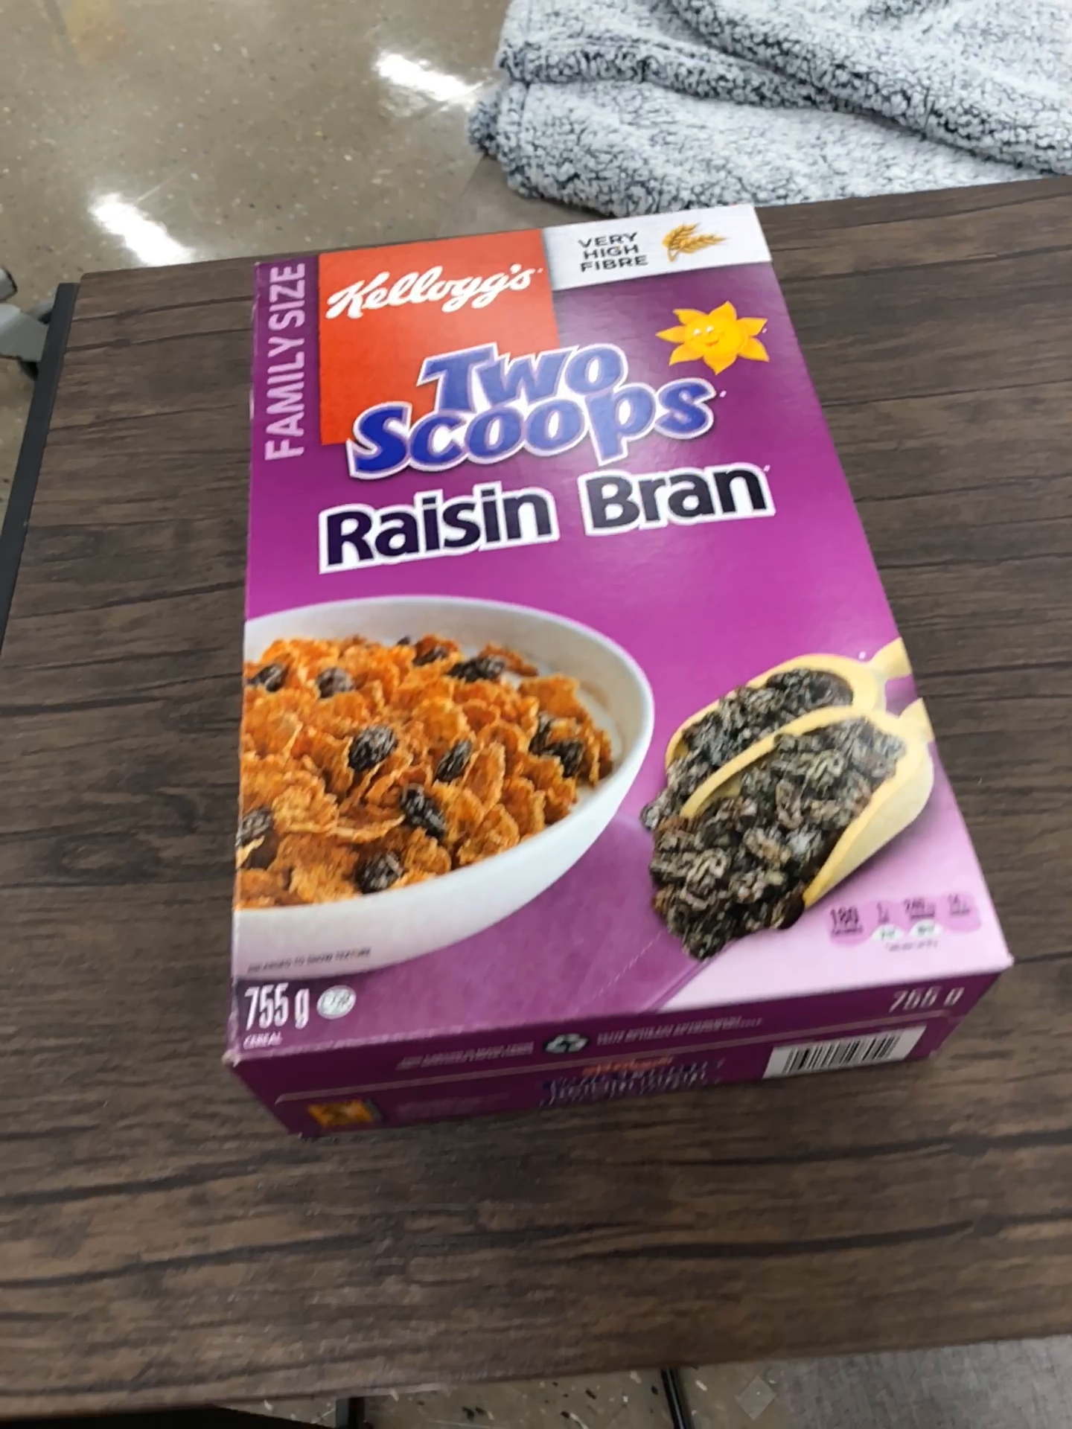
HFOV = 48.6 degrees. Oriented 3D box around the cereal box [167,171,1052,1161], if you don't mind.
[{"bbox_3d":[0.002,-0.038,0.399,0.210,0.080,0.320,-7,58,-1],"label":"cereal box"}]
